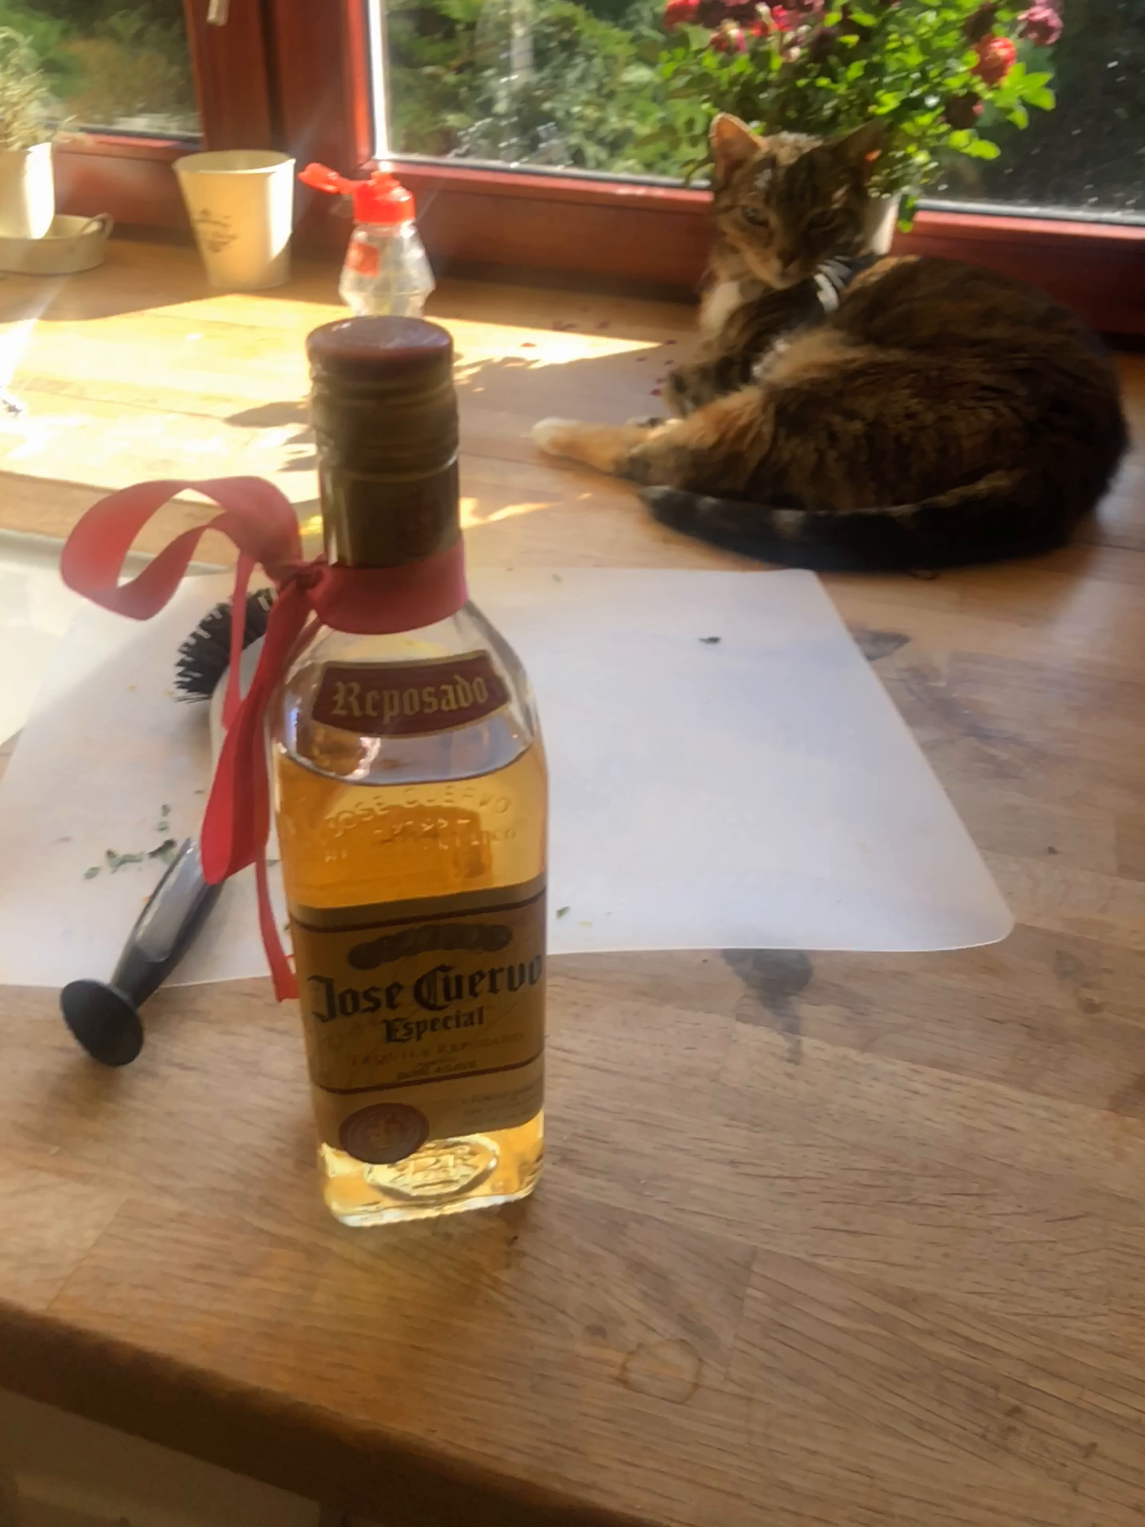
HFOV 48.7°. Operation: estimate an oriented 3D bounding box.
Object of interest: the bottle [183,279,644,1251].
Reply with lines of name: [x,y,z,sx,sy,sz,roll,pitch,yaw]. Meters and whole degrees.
bottle: [-0.038,0.010,0.310,0.080,0.228,0.070,-6,34,-12]
